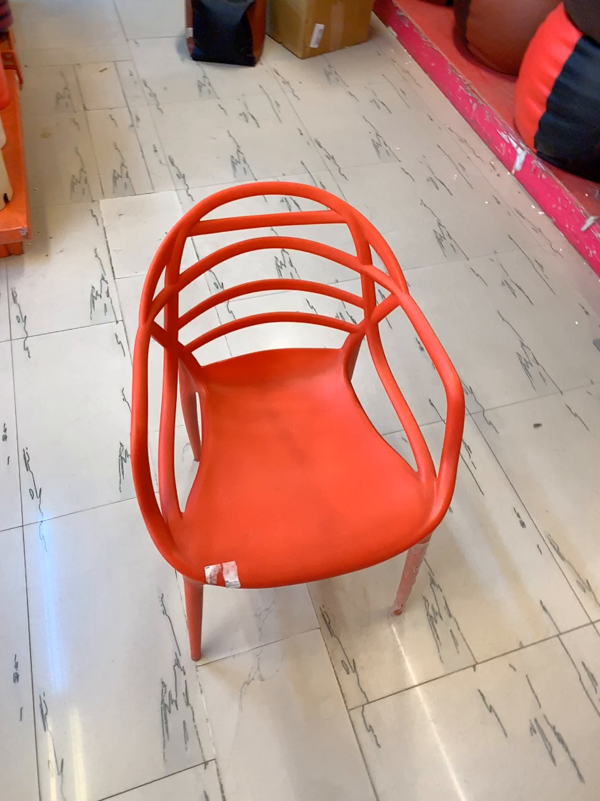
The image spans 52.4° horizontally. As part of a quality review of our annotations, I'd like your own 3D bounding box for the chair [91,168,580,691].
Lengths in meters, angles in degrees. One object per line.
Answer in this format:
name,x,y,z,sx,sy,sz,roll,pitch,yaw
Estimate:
chair,-0.022,0.064,1.134,0.550,0.655,0.634,-9,55,-11
